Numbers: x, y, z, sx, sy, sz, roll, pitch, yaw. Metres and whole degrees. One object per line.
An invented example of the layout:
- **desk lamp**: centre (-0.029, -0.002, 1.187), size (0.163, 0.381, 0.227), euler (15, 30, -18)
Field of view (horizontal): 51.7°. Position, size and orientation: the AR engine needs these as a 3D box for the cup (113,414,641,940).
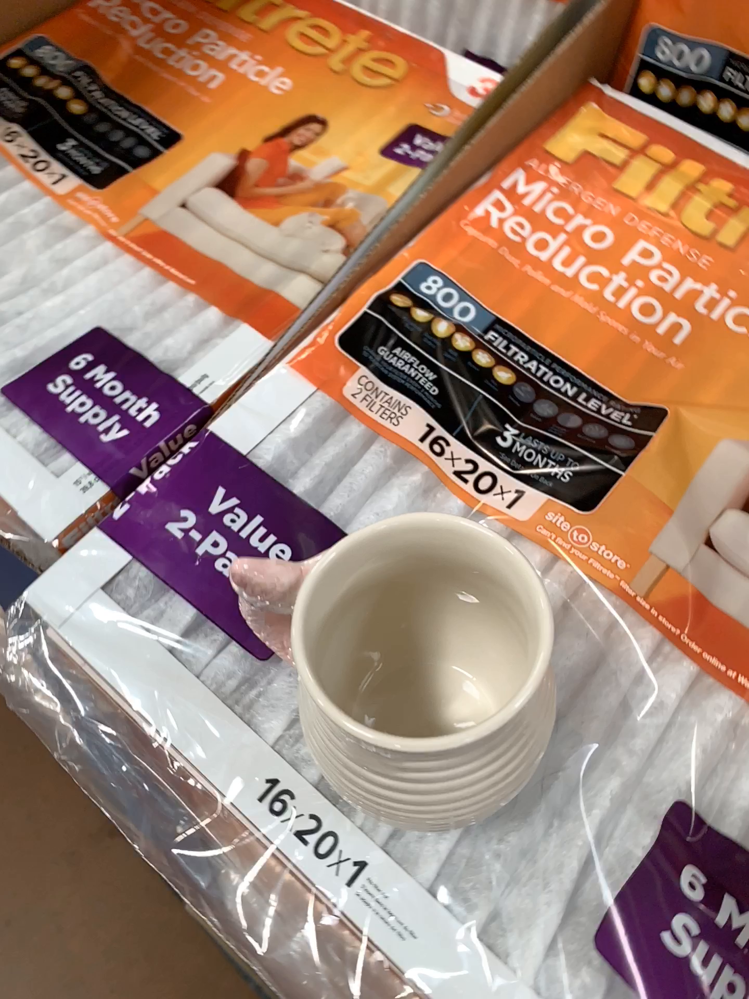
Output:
- **cup**: centre (0.000, 0.061, 0.287), size (0.141, 0.090, 0.100), euler (37, 65, 25)
